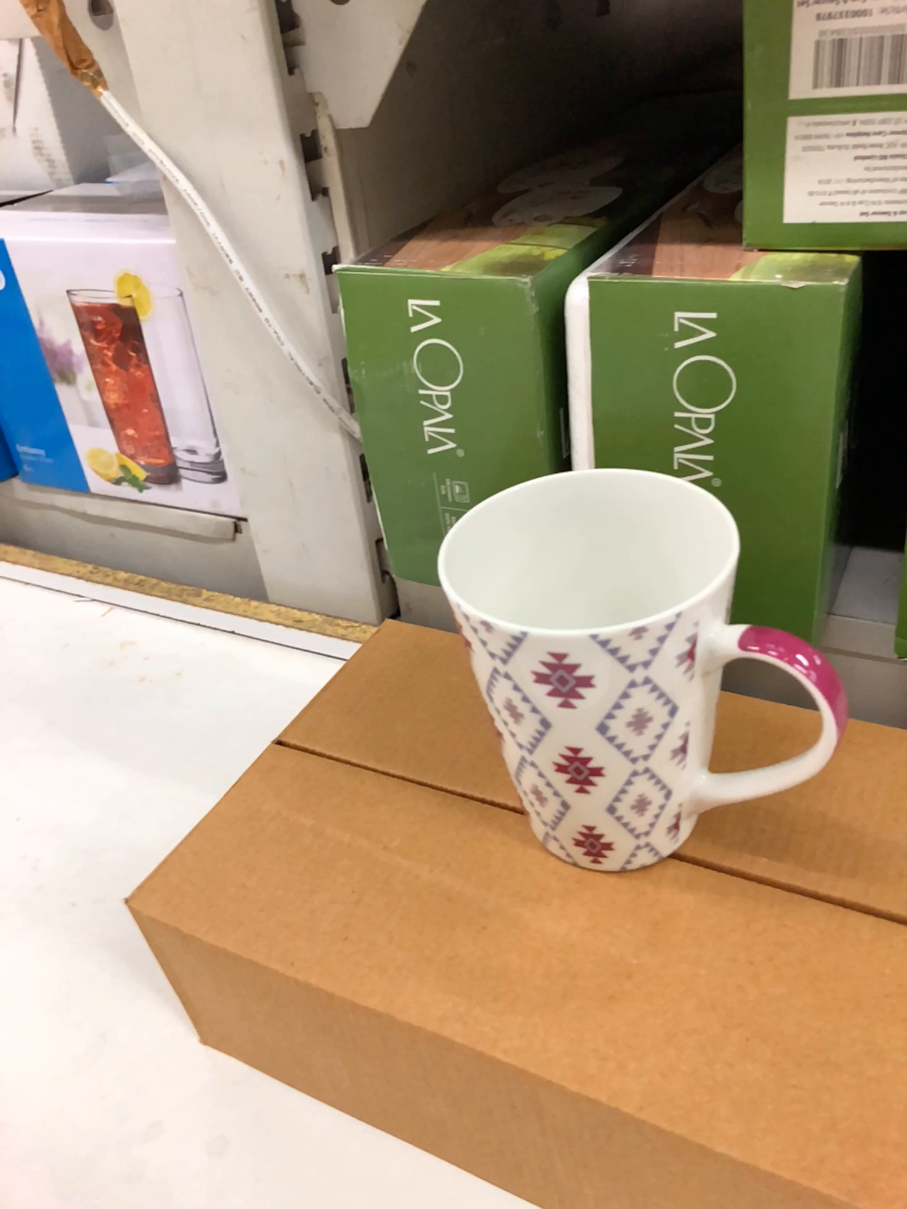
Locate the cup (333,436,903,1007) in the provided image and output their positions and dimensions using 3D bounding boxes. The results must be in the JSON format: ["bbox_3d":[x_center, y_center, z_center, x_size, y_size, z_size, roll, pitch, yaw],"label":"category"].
[{"bbox_3d":[0.045,0.024,0.283,0.120,0.099,0.080,18,41,34],"label":"cup"}]
